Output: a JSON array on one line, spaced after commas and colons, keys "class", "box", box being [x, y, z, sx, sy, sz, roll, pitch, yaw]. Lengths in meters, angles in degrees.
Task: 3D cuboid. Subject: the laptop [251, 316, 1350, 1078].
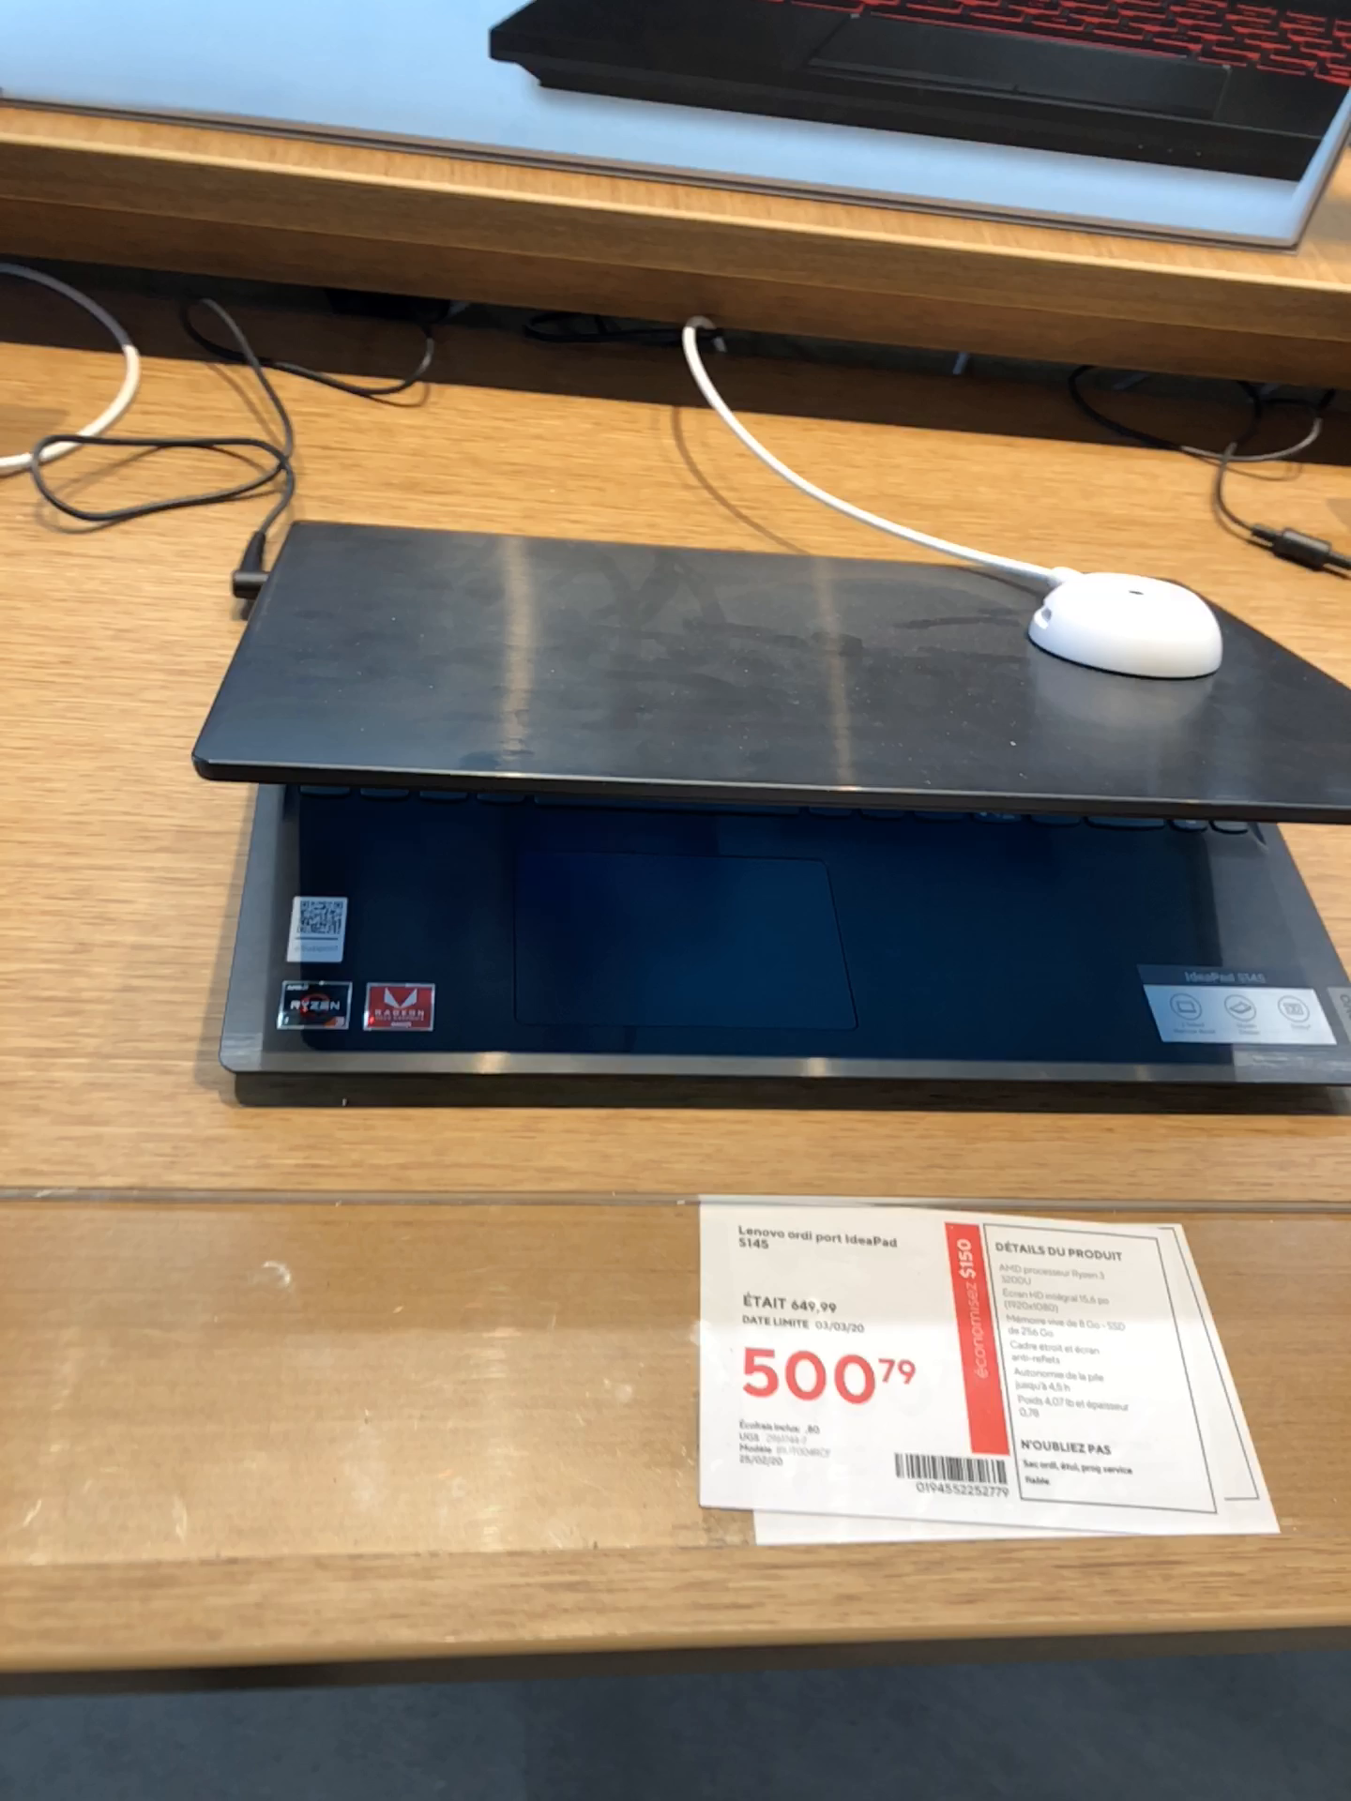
[{"class": "laptop", "box": [0.055, -0.065, 0.464, 0.330, 0.083, 0.224, 2, 51, -12]}]
